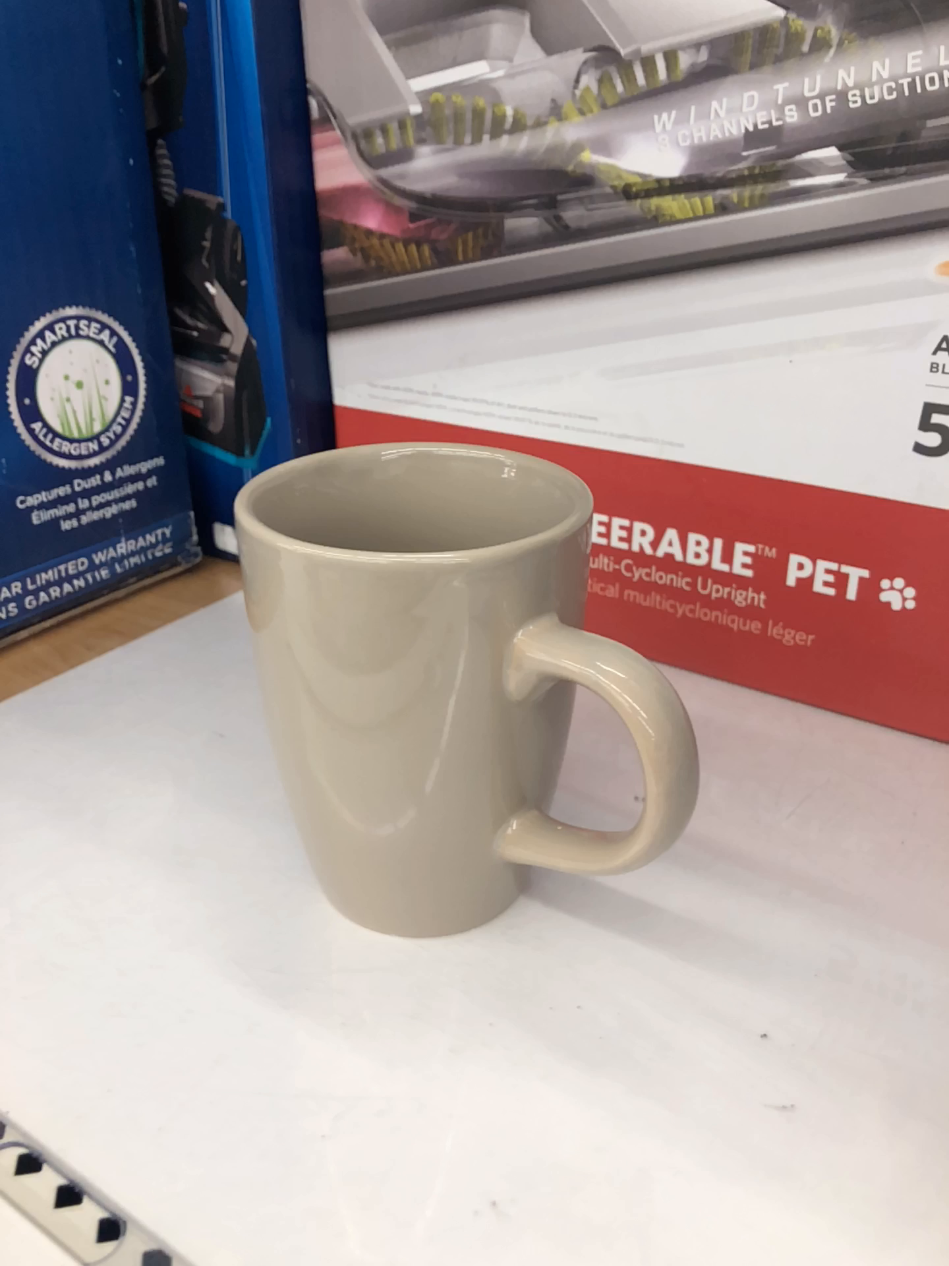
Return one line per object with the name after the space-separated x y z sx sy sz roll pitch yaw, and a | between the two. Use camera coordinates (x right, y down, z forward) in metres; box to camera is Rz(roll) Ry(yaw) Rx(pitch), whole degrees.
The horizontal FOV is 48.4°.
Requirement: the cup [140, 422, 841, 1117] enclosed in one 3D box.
0.000 0.016 0.248 0.126 0.092 0.087 23 35 39 | cup
